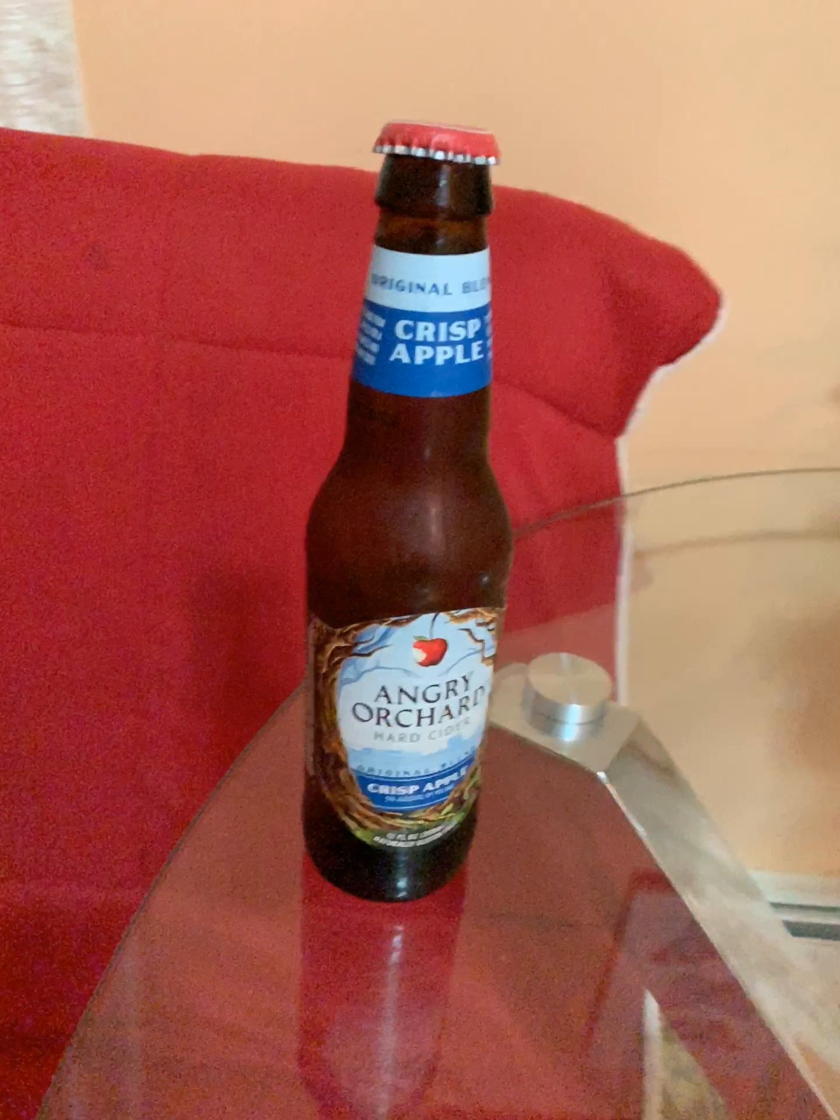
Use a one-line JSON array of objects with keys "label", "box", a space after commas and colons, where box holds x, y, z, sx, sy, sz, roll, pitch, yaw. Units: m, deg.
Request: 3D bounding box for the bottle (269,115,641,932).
[{"label": "bottle", "box": [-0.005, -0.002, 0.264, 0.070, 0.231, 0.070, 4, 28, -2]}]
